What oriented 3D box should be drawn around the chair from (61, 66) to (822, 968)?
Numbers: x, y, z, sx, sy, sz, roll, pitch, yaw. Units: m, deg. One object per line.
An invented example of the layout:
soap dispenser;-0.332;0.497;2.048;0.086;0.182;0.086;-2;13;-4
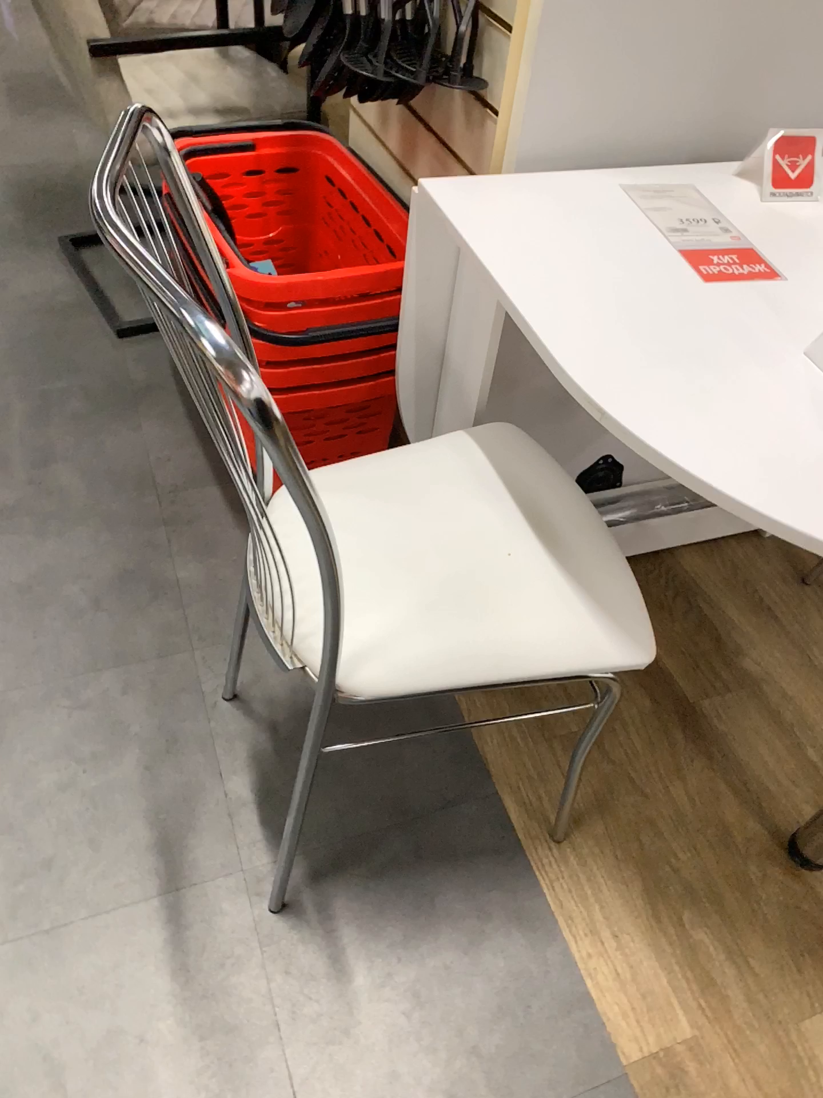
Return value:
chair;-0.014;0.025;1.016;0.551;0.954;0.452;-12;49;-18
